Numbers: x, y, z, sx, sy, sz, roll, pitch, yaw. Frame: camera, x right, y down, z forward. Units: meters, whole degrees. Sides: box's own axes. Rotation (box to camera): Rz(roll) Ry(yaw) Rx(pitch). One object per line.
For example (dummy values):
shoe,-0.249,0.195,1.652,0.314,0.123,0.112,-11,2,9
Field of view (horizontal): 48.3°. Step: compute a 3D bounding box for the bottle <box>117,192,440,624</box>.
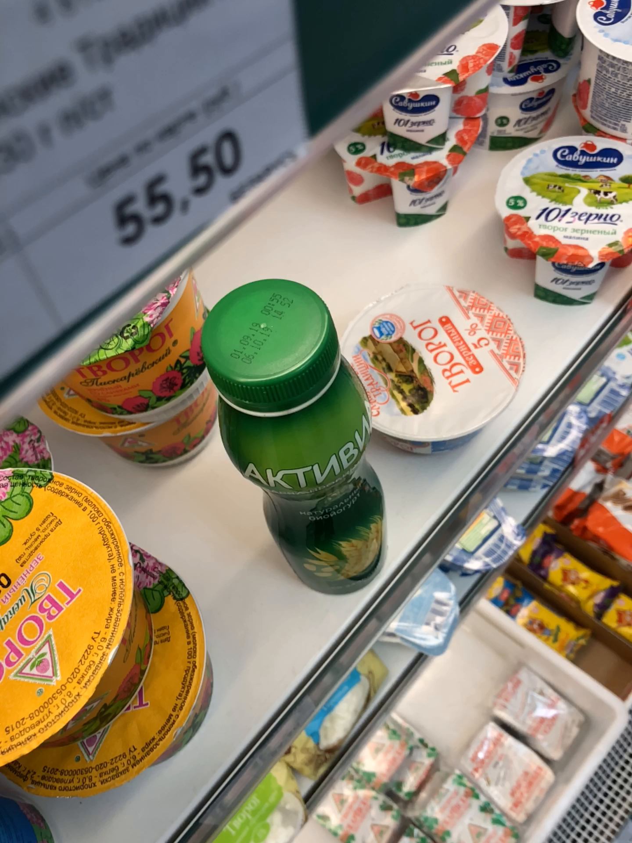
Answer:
bottle,-0.002,0.013,0.276,0.070,0.184,0.060,-32,62,-10
